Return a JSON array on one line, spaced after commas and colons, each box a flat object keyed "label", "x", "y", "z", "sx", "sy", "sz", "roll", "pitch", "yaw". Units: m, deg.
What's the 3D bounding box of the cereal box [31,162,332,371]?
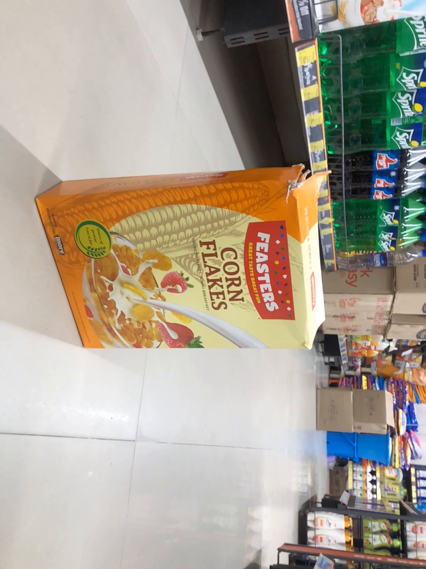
[{"label": "cereal box", "x": -0.022, "y": -0.008, "z": 0.481, "sx": 0.060, "sy": 0.269, "sz": 0.190, "roll": -68, "pitch": 152, "yaw": -61}]
